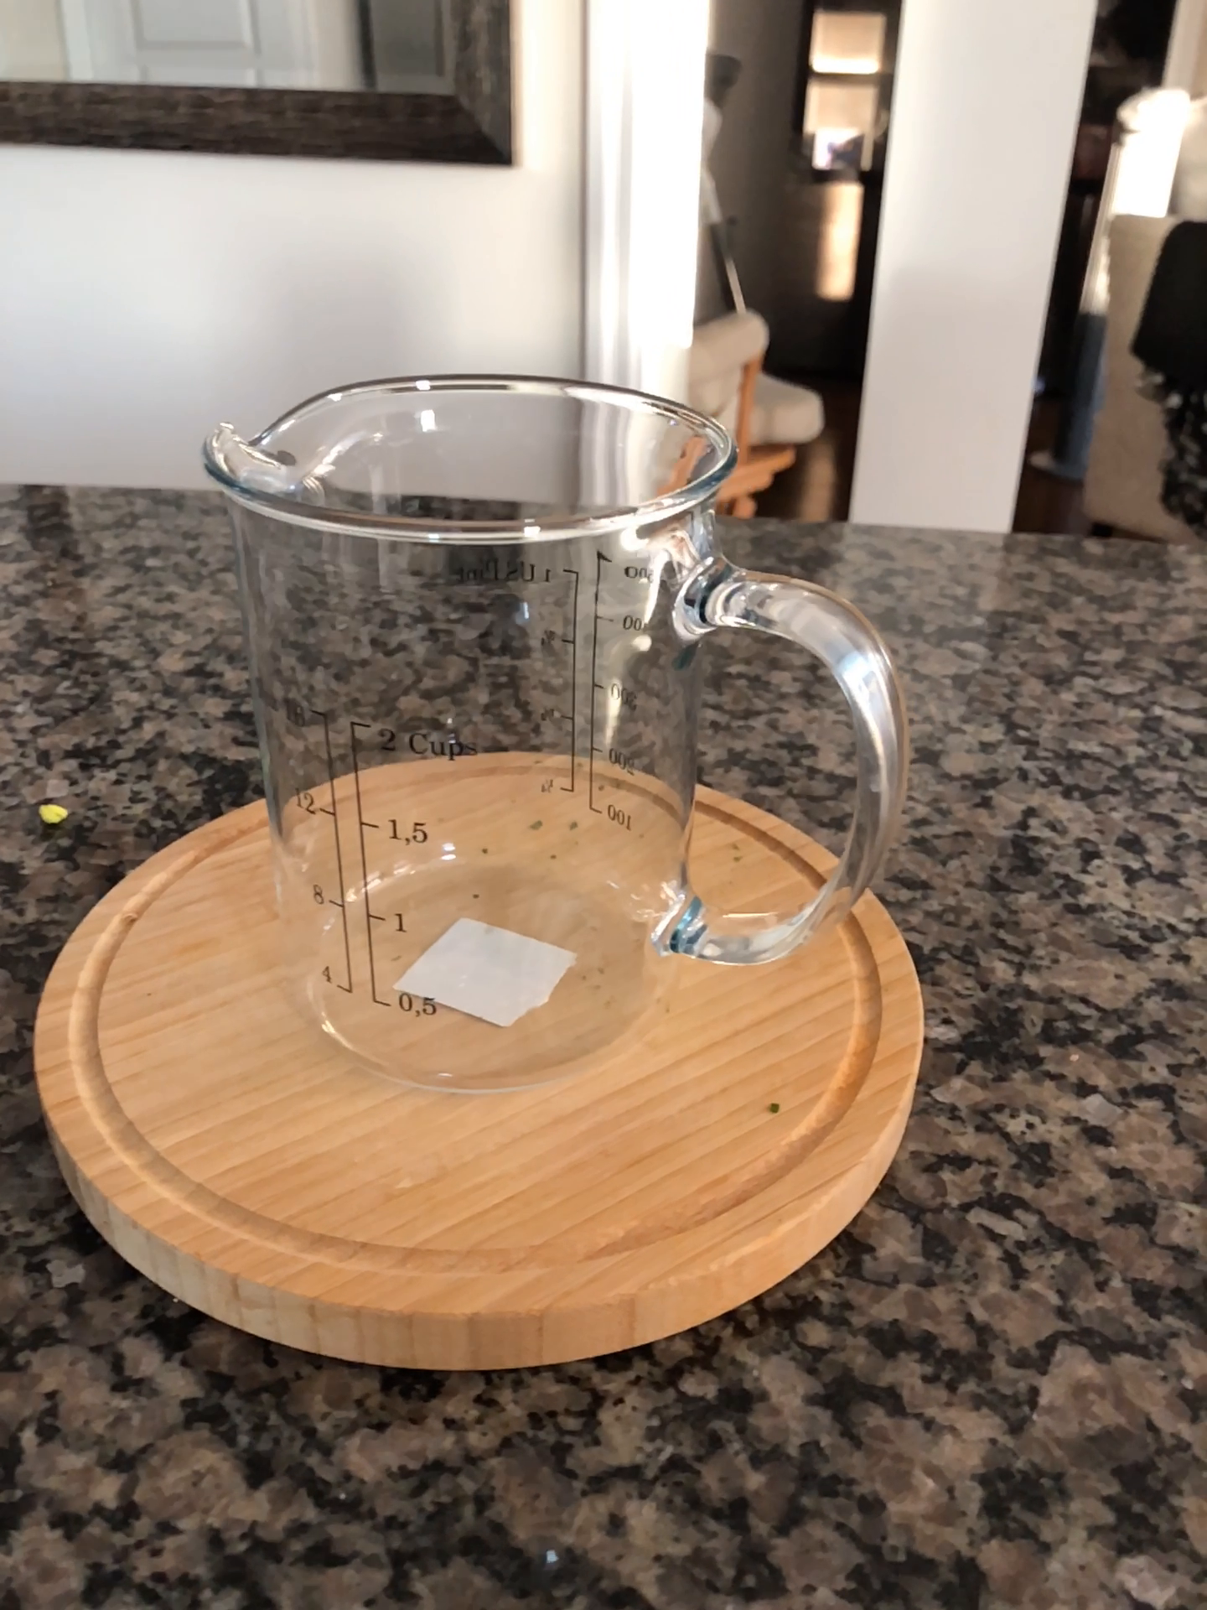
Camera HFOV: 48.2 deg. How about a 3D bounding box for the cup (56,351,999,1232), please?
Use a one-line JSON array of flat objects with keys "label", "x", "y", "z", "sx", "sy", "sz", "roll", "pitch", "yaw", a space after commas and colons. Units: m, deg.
[{"label": "cup", "x": -0.011, "y": -0.015, "z": 0.292, "sx": 0.150, "sy": 0.128, "sz": 0.106, "roll": 14, "pitch": 32, "yaw": 21}]
